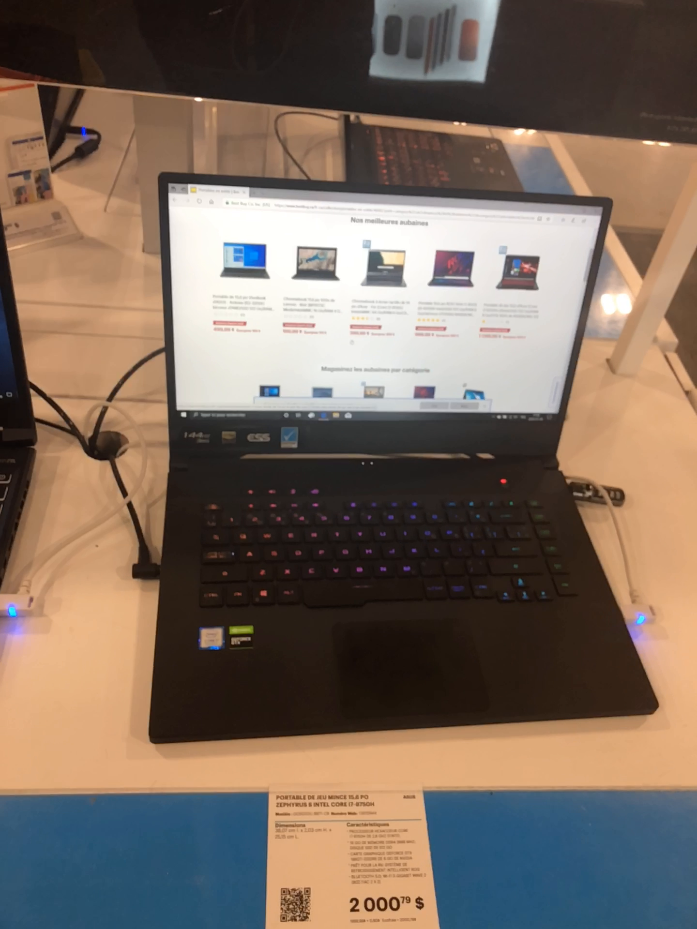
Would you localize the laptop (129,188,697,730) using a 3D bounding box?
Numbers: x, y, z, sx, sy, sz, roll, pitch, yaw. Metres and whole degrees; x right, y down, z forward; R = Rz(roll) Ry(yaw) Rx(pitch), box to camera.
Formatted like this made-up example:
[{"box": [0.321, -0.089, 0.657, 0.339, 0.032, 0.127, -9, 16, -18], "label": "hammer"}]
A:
[{"box": [0.045, -0.017, 0.546, 0.340, 0.207, 0.316, 0, 45, -7], "label": "laptop"}]
